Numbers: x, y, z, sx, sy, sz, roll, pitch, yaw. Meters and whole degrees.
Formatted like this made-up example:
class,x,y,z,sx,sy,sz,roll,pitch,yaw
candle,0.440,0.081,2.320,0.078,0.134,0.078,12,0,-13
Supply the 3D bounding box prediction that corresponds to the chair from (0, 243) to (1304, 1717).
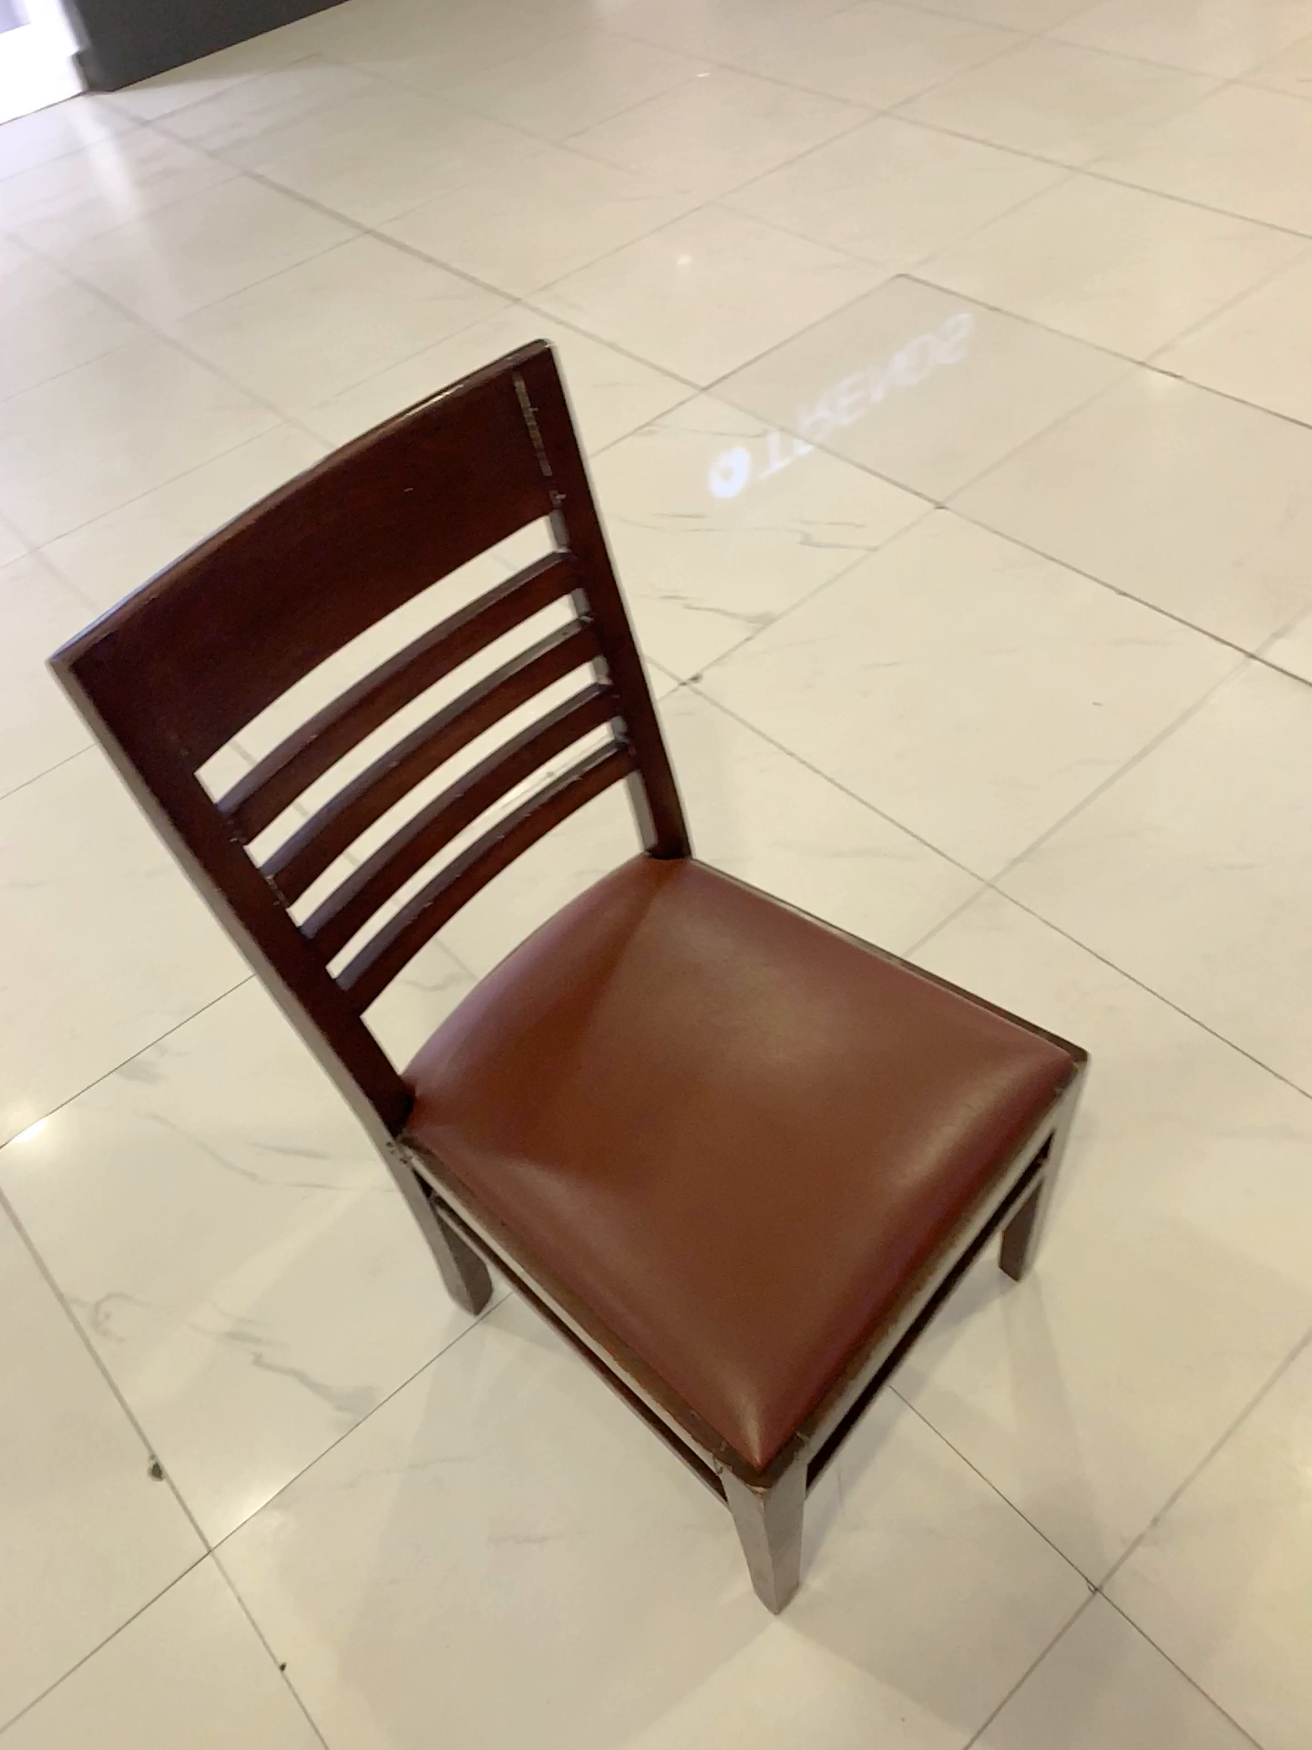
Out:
class,x,y,z,sx,sy,sz,roll,pitch,yaw
chair,-0.007,0.096,0.991,0.542,0.784,0.562,30,59,30
